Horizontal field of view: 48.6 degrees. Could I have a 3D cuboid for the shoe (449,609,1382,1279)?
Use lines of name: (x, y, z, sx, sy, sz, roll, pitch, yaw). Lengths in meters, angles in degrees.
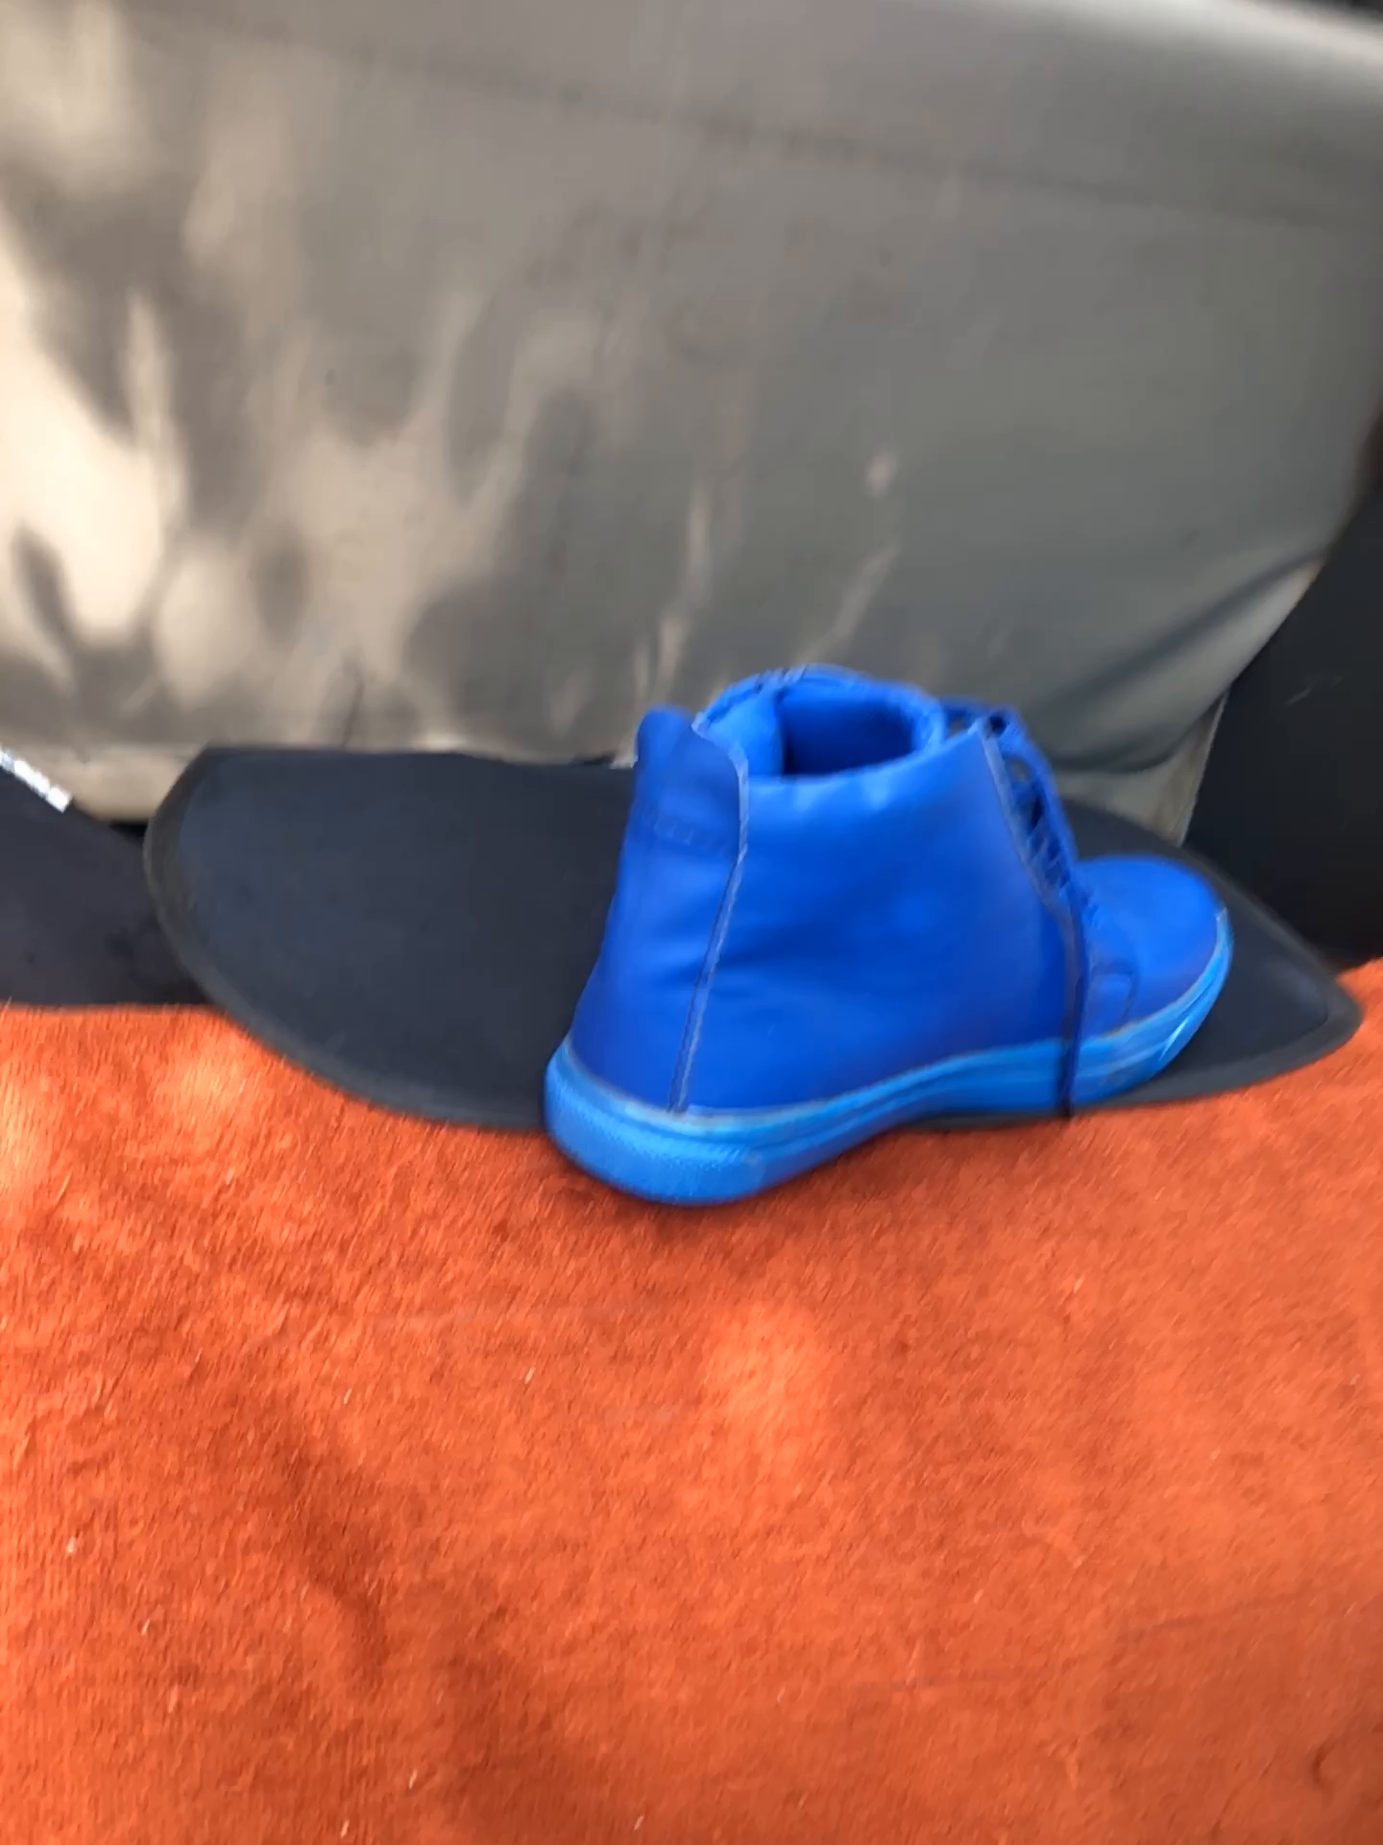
shoe: (0.083, -0.012, 0.487, 0.291, 0.139, 0.100, -10, 33, -36)
